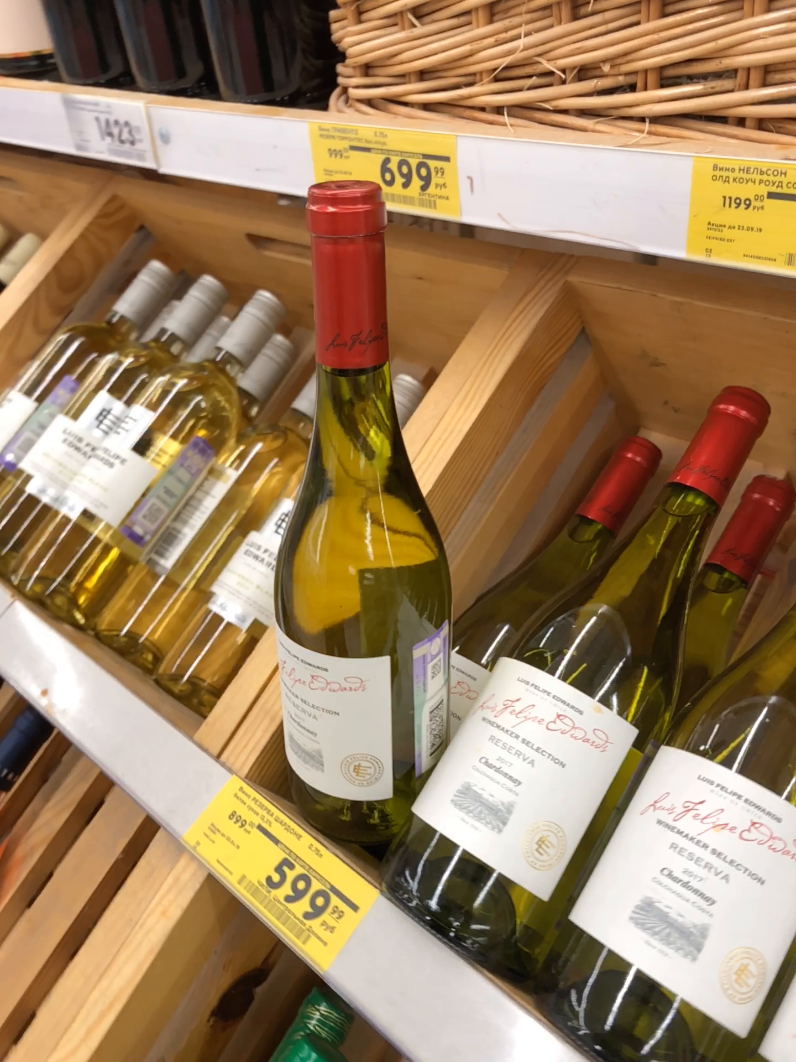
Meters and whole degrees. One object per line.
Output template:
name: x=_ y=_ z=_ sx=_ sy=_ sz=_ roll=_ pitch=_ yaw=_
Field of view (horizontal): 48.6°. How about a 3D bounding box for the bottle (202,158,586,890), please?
bottle: x=-0.009 y=-0.002 z=0.388 sx=0.100 sy=0.289 sz=0.100 roll=3 pitch=27 yaw=-1
